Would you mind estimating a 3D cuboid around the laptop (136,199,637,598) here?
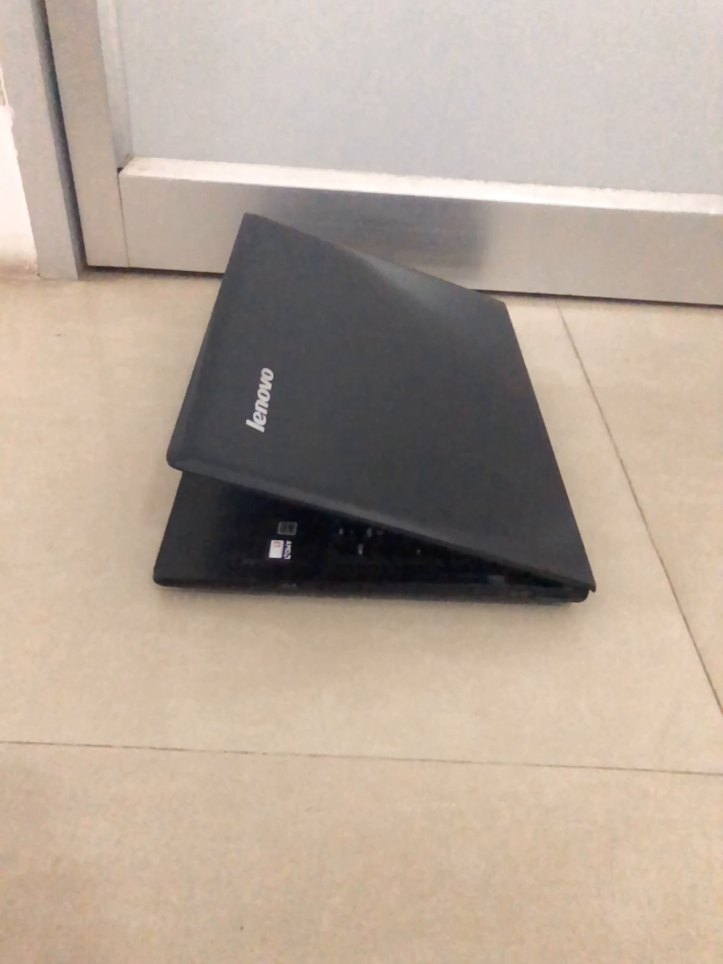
[{"bbox_3d":[0.012,-0.088,0.581,0.257,0.097,0.369,3,38,-3],"label":"laptop"}]
